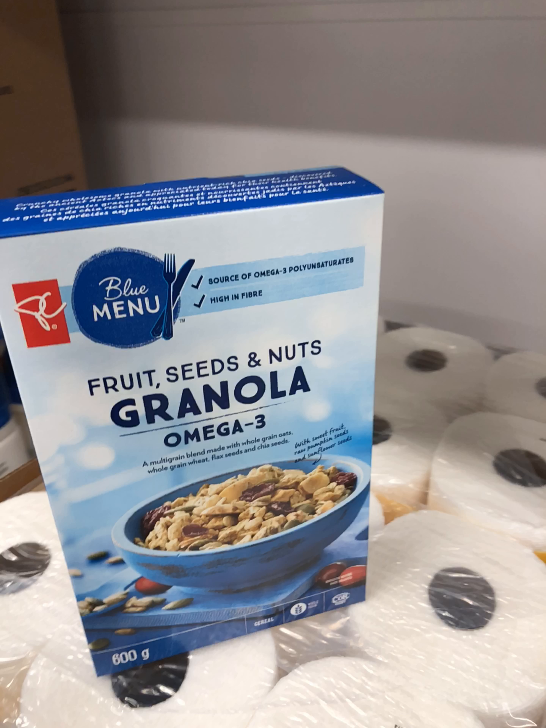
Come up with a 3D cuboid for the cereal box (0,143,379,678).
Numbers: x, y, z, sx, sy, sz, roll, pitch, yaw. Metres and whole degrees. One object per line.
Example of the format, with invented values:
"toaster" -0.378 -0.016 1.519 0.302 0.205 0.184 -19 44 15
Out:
"cereal box" -0.038 0.030 0.300 0.160 0.239 0.060 -10 29 -12
